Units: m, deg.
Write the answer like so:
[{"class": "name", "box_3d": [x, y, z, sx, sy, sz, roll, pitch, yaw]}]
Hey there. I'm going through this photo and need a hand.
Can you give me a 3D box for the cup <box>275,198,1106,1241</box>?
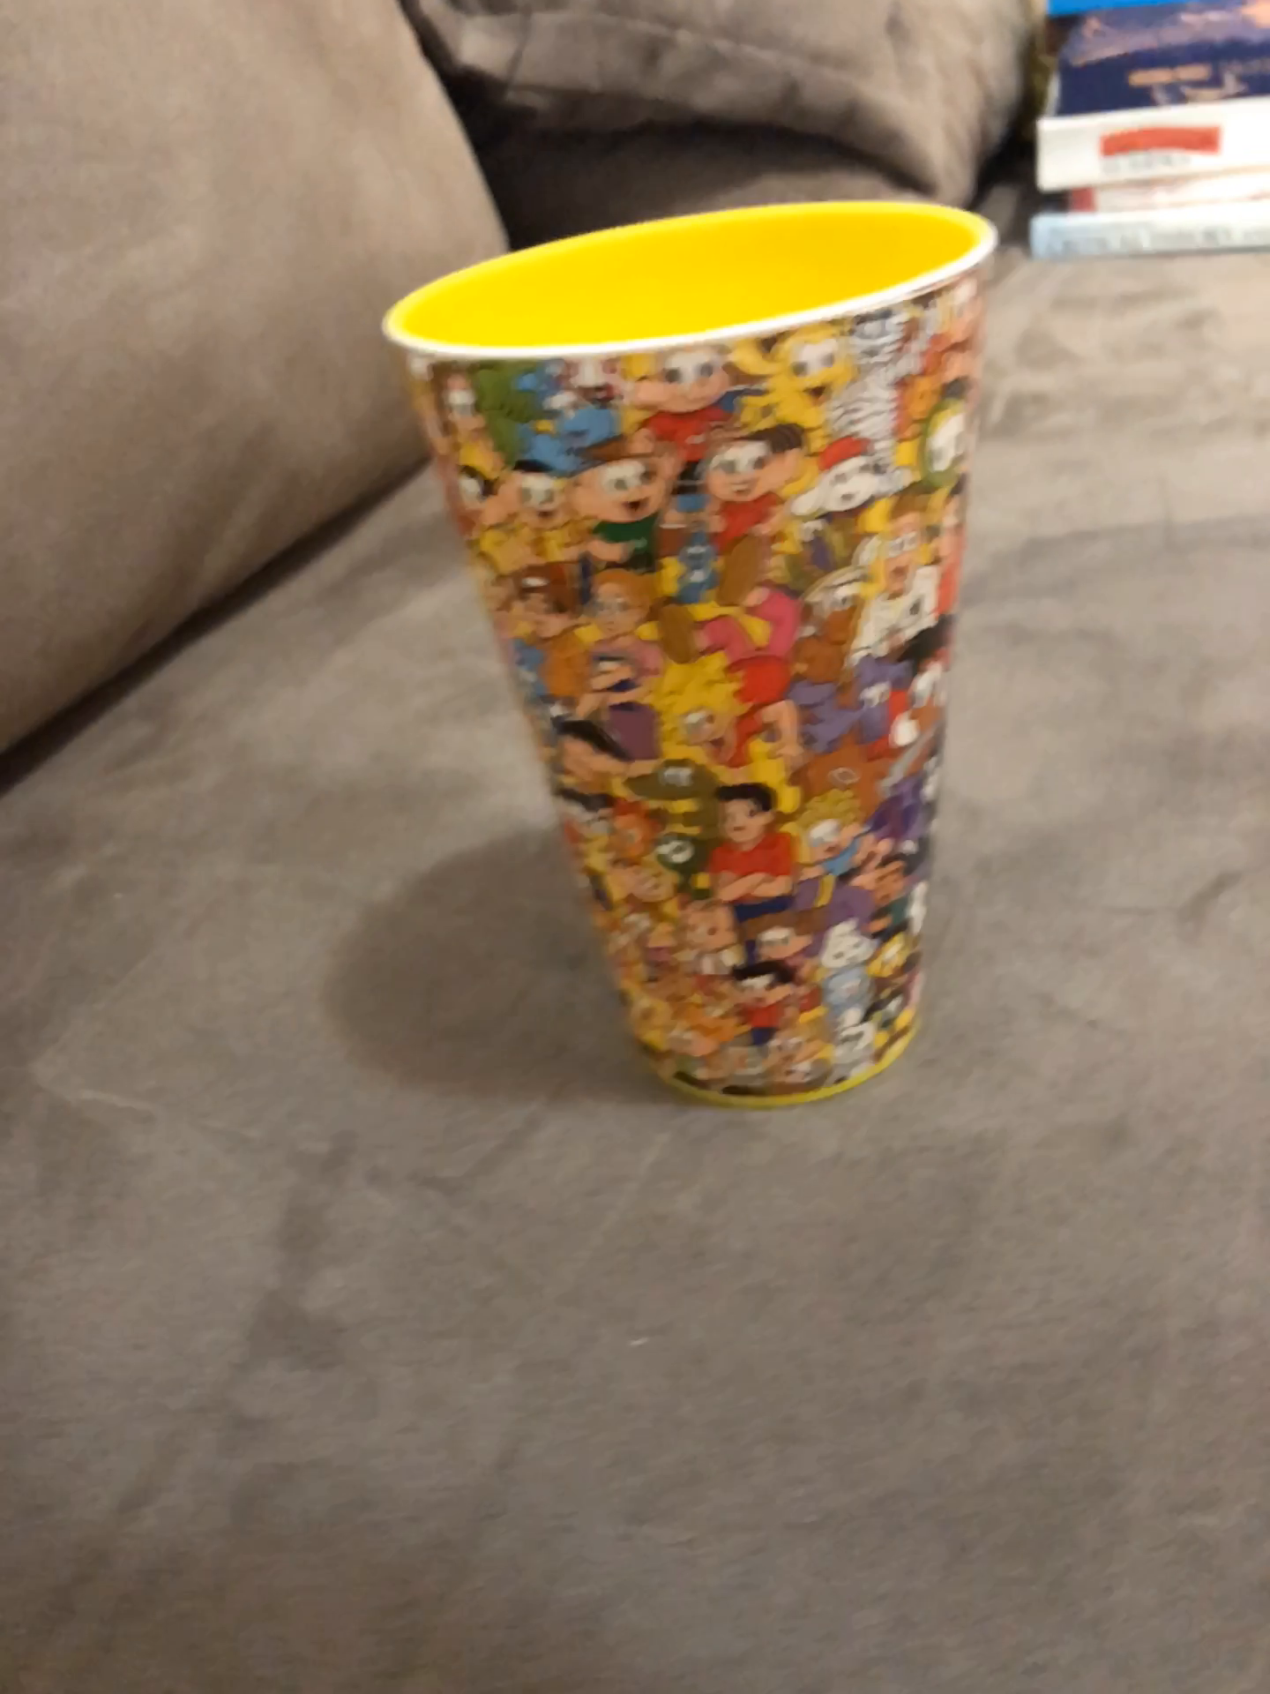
[{"class": "cup", "box_3d": [0.016, -0.028, 0.252, 0.090, 0.139, 0.090, -8, 32, 5]}]
